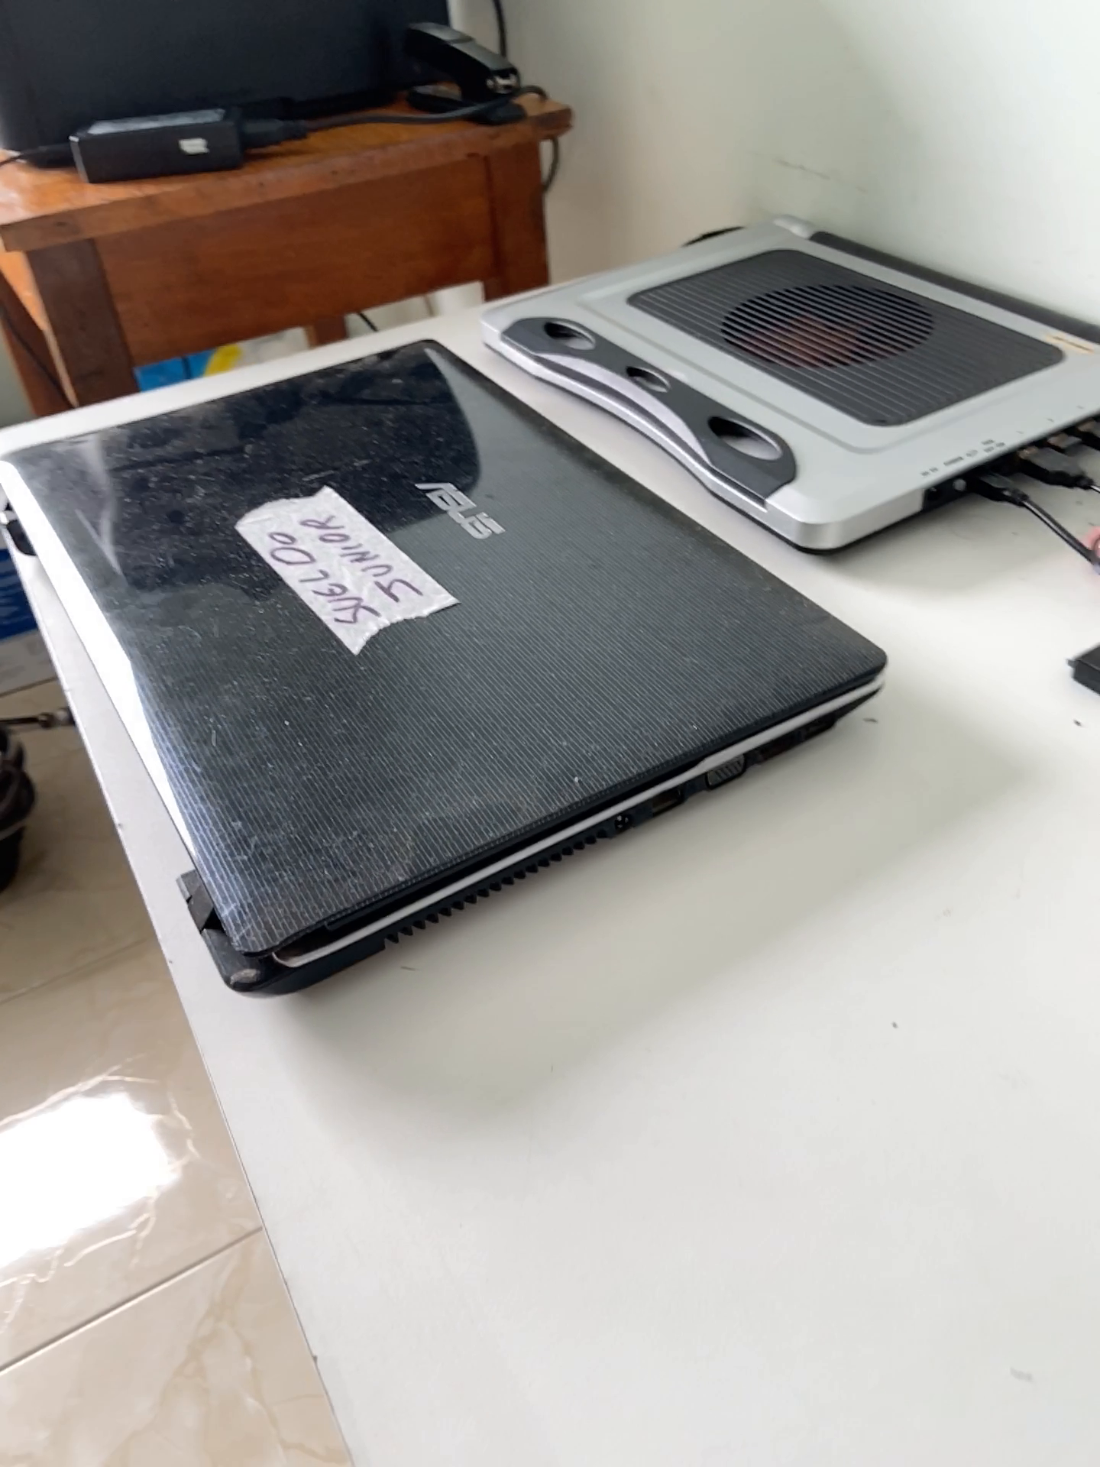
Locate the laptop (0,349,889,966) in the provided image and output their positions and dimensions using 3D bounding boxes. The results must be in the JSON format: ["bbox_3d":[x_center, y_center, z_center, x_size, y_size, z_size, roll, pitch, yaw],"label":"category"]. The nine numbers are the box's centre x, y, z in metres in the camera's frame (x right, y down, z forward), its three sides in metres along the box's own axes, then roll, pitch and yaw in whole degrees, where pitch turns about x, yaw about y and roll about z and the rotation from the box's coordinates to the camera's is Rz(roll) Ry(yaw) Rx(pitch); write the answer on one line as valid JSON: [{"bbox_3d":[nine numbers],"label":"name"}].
[{"bbox_3d":[-0.080,-0.077,0.471,0.237,0.001,0.364,-24,43,-21],"label":"laptop"}]
